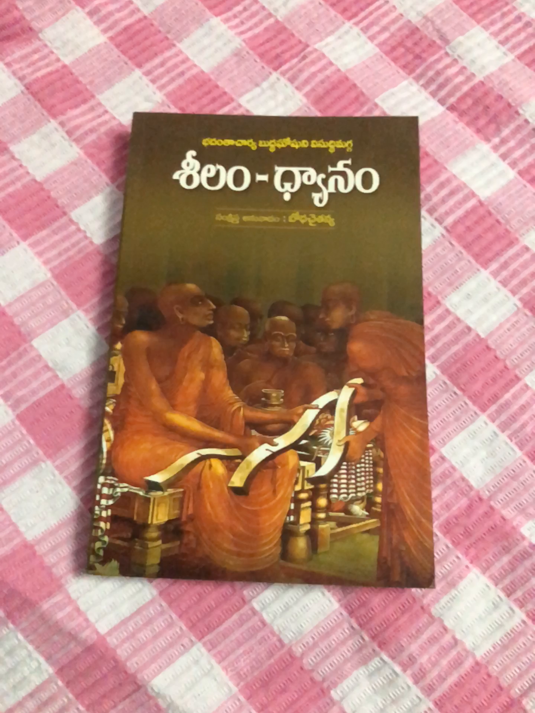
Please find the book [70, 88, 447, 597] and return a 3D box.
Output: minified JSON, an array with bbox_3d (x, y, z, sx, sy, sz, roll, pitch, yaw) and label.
[{"bbox_3d":[0.001,-0.014,0.254,0.140,0.020,0.210,2,77,0],"label":"book"}]
